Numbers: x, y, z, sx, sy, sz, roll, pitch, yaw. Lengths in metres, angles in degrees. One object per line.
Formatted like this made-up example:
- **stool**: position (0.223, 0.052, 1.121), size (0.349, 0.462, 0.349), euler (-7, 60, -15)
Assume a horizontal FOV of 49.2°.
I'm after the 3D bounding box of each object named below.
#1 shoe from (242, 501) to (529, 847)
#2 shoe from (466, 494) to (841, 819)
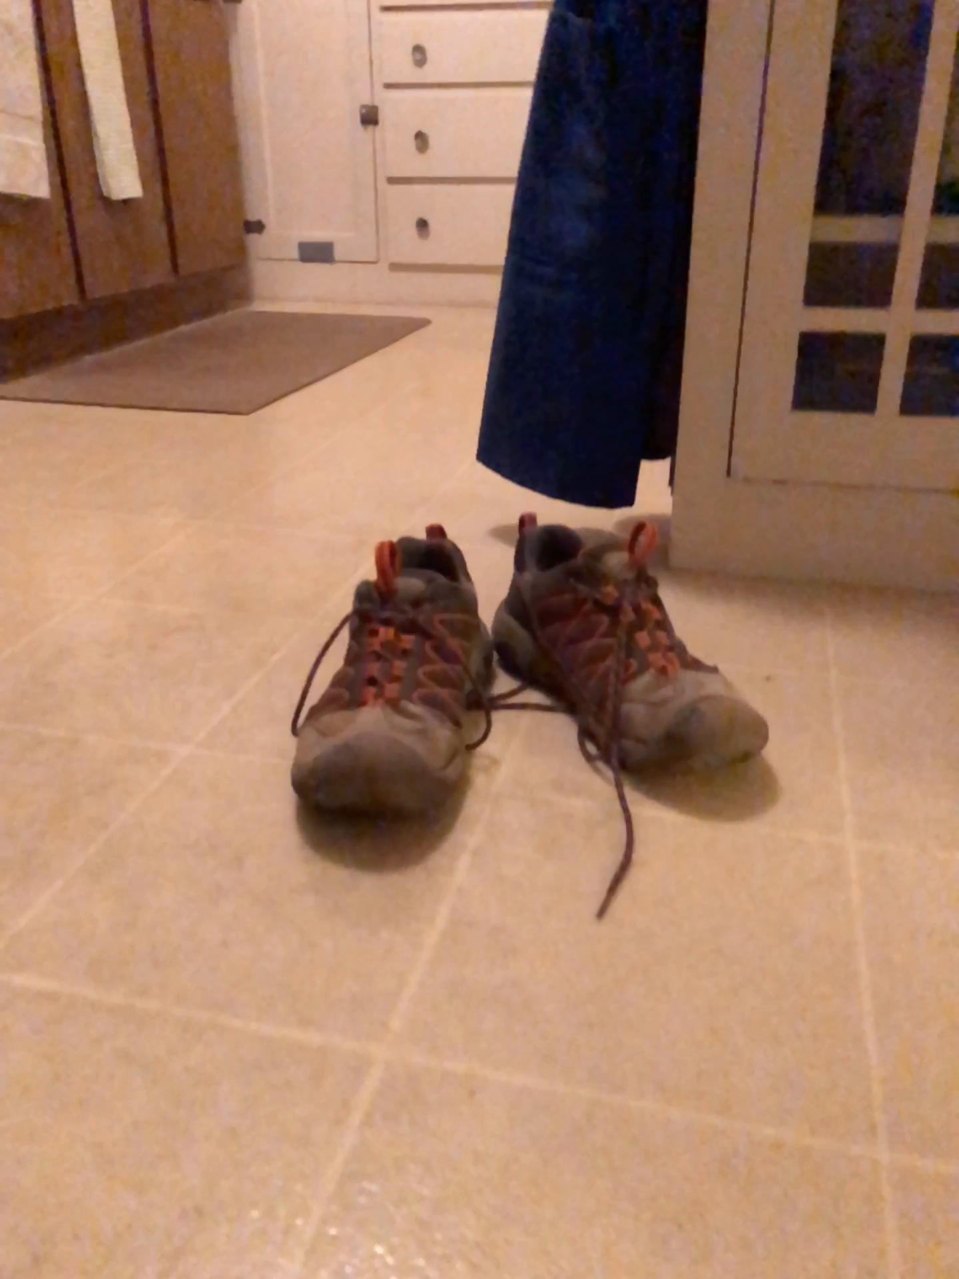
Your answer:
- **shoe**: position (-0.049, 0.006, 0.759), size (0.127, 0.121, 0.294), euler (4, 26, 10)
- **shoe**: position (0.112, -0.005, 0.792), size (0.127, 0.121, 0.283), euler (-13, 28, -26)
